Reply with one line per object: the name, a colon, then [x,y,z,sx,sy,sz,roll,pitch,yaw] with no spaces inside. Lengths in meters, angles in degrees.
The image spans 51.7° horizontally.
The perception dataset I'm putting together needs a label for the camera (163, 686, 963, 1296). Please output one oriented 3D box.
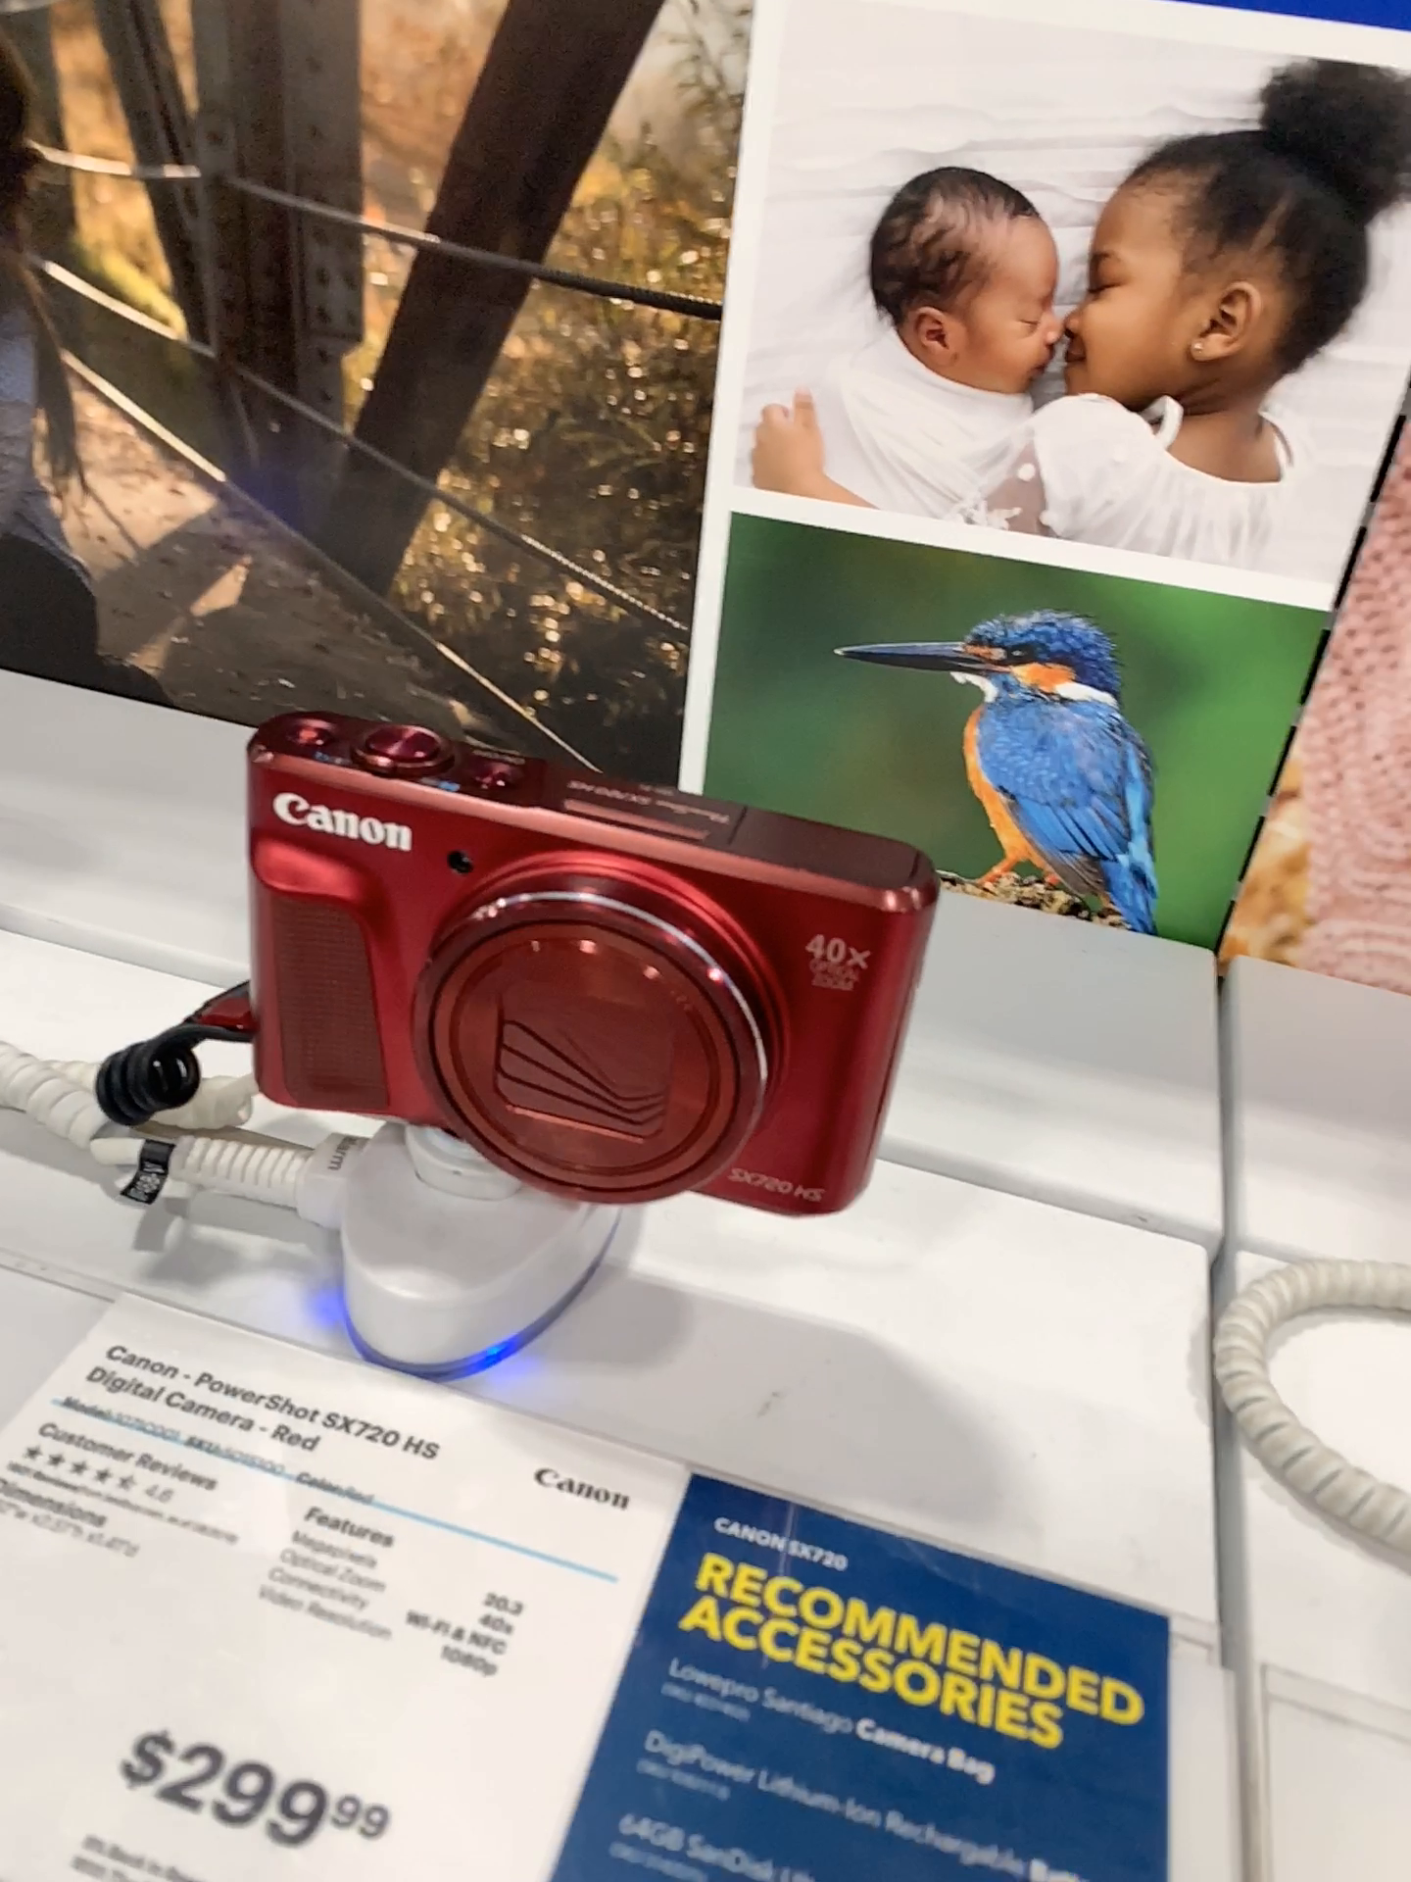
camera: [-0.022,0.006,0.226,0.110,0.060,0.037,14,30,8]
